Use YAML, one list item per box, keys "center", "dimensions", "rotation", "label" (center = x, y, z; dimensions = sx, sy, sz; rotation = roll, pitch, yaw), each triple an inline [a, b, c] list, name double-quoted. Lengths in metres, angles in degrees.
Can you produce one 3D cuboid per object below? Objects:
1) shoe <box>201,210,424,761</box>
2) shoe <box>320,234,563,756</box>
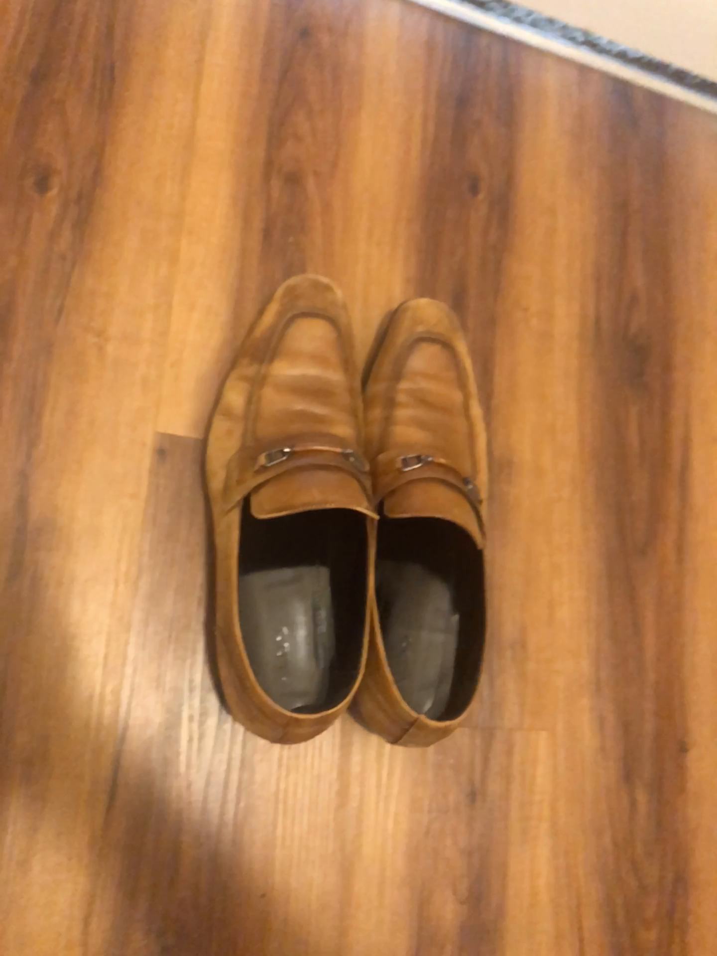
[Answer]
- center: [-0.031, 0.008, 0.505]
  dimensions: [0.107, 0.112, 0.308]
  rotation: [5, 77, -18]
  label: "shoe"
- center: [0.055, 0.014, 0.533]
  dimensions: [0.107, 0.112, 0.308]
  rotation: [9, 76, -17]
  label: "shoe"
